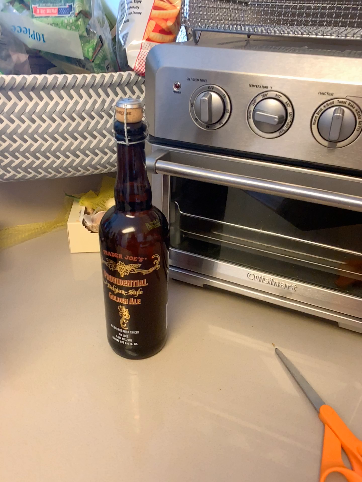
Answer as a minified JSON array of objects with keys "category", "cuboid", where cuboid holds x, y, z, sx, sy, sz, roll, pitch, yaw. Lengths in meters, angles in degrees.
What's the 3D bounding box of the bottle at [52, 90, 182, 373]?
[{"category":"bottle","cuboid":[-0.059,0.001,0.411,0.090,0.298,0.080,11,31,14]}]
